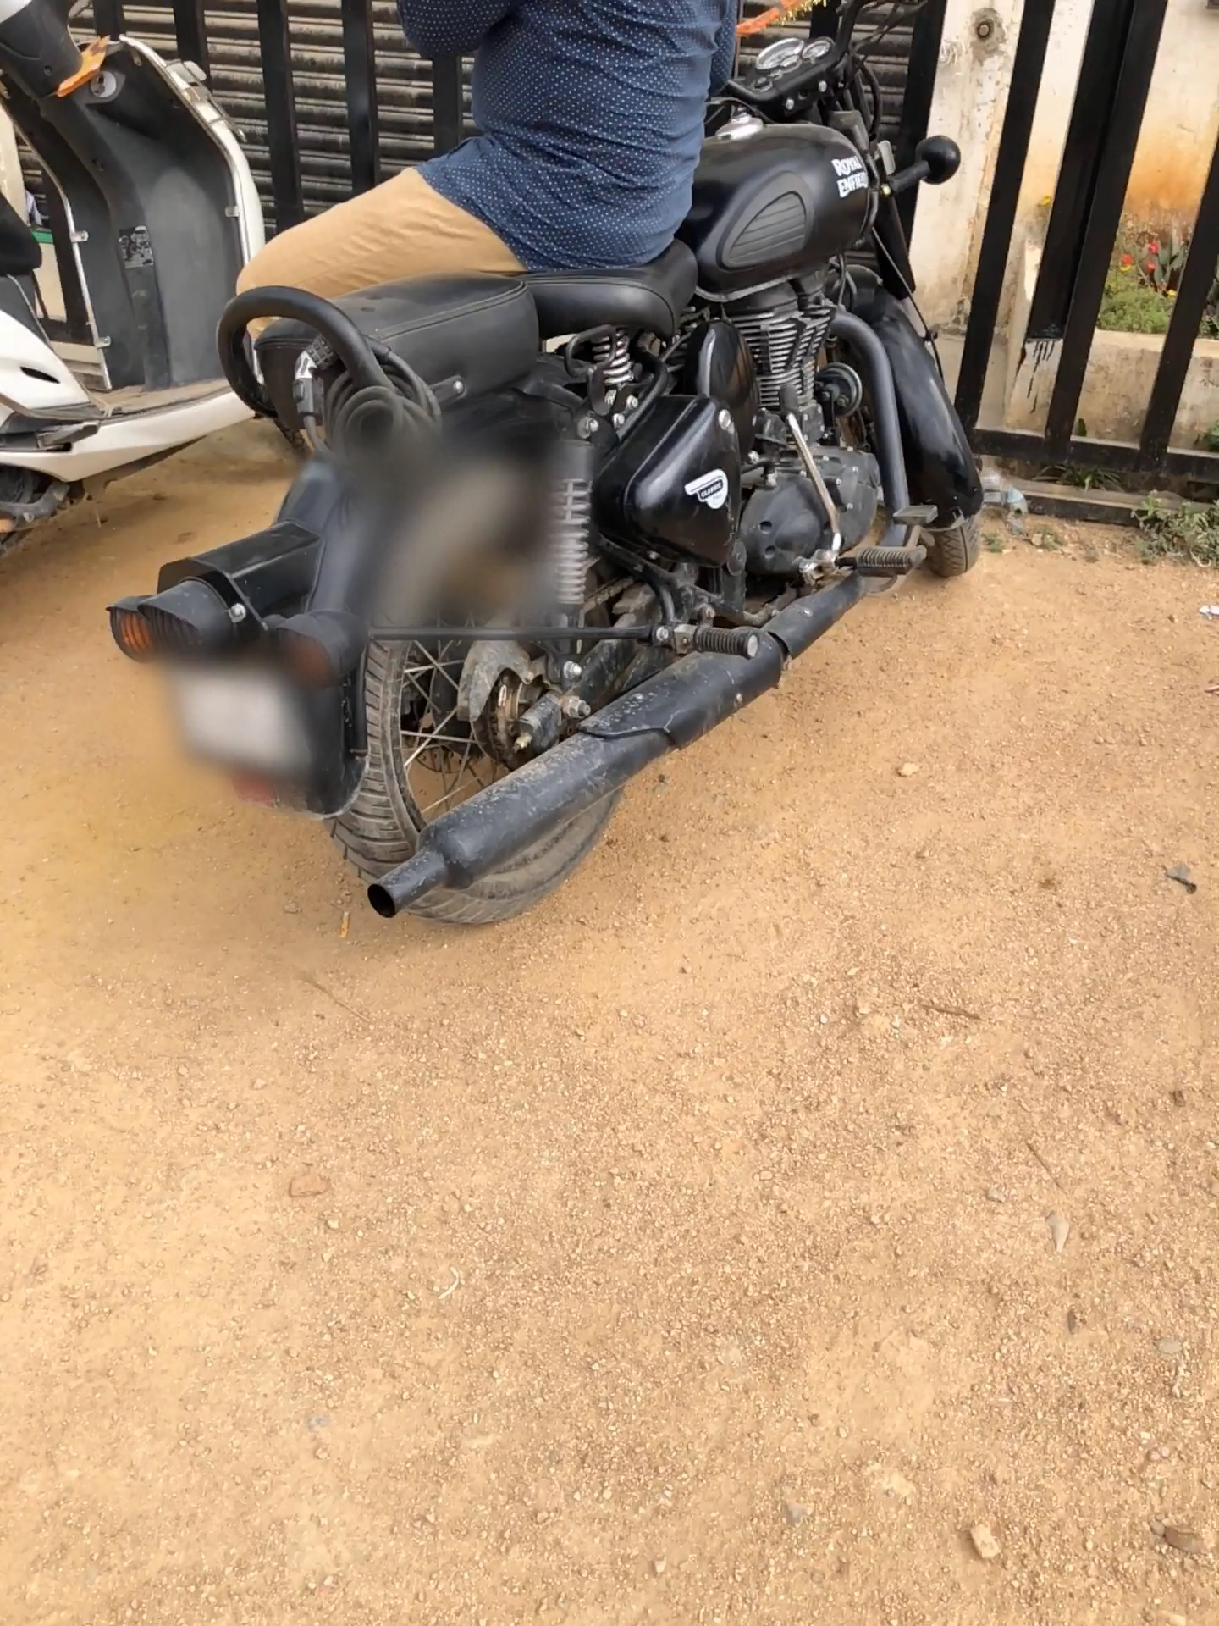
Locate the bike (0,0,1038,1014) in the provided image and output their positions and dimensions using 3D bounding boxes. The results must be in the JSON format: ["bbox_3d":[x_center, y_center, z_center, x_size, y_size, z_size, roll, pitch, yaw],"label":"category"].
[{"bbox_3d":[0.032,-0.918,2.119,0.722,1.169,1.818,16,41,20],"label":"bike"}]
